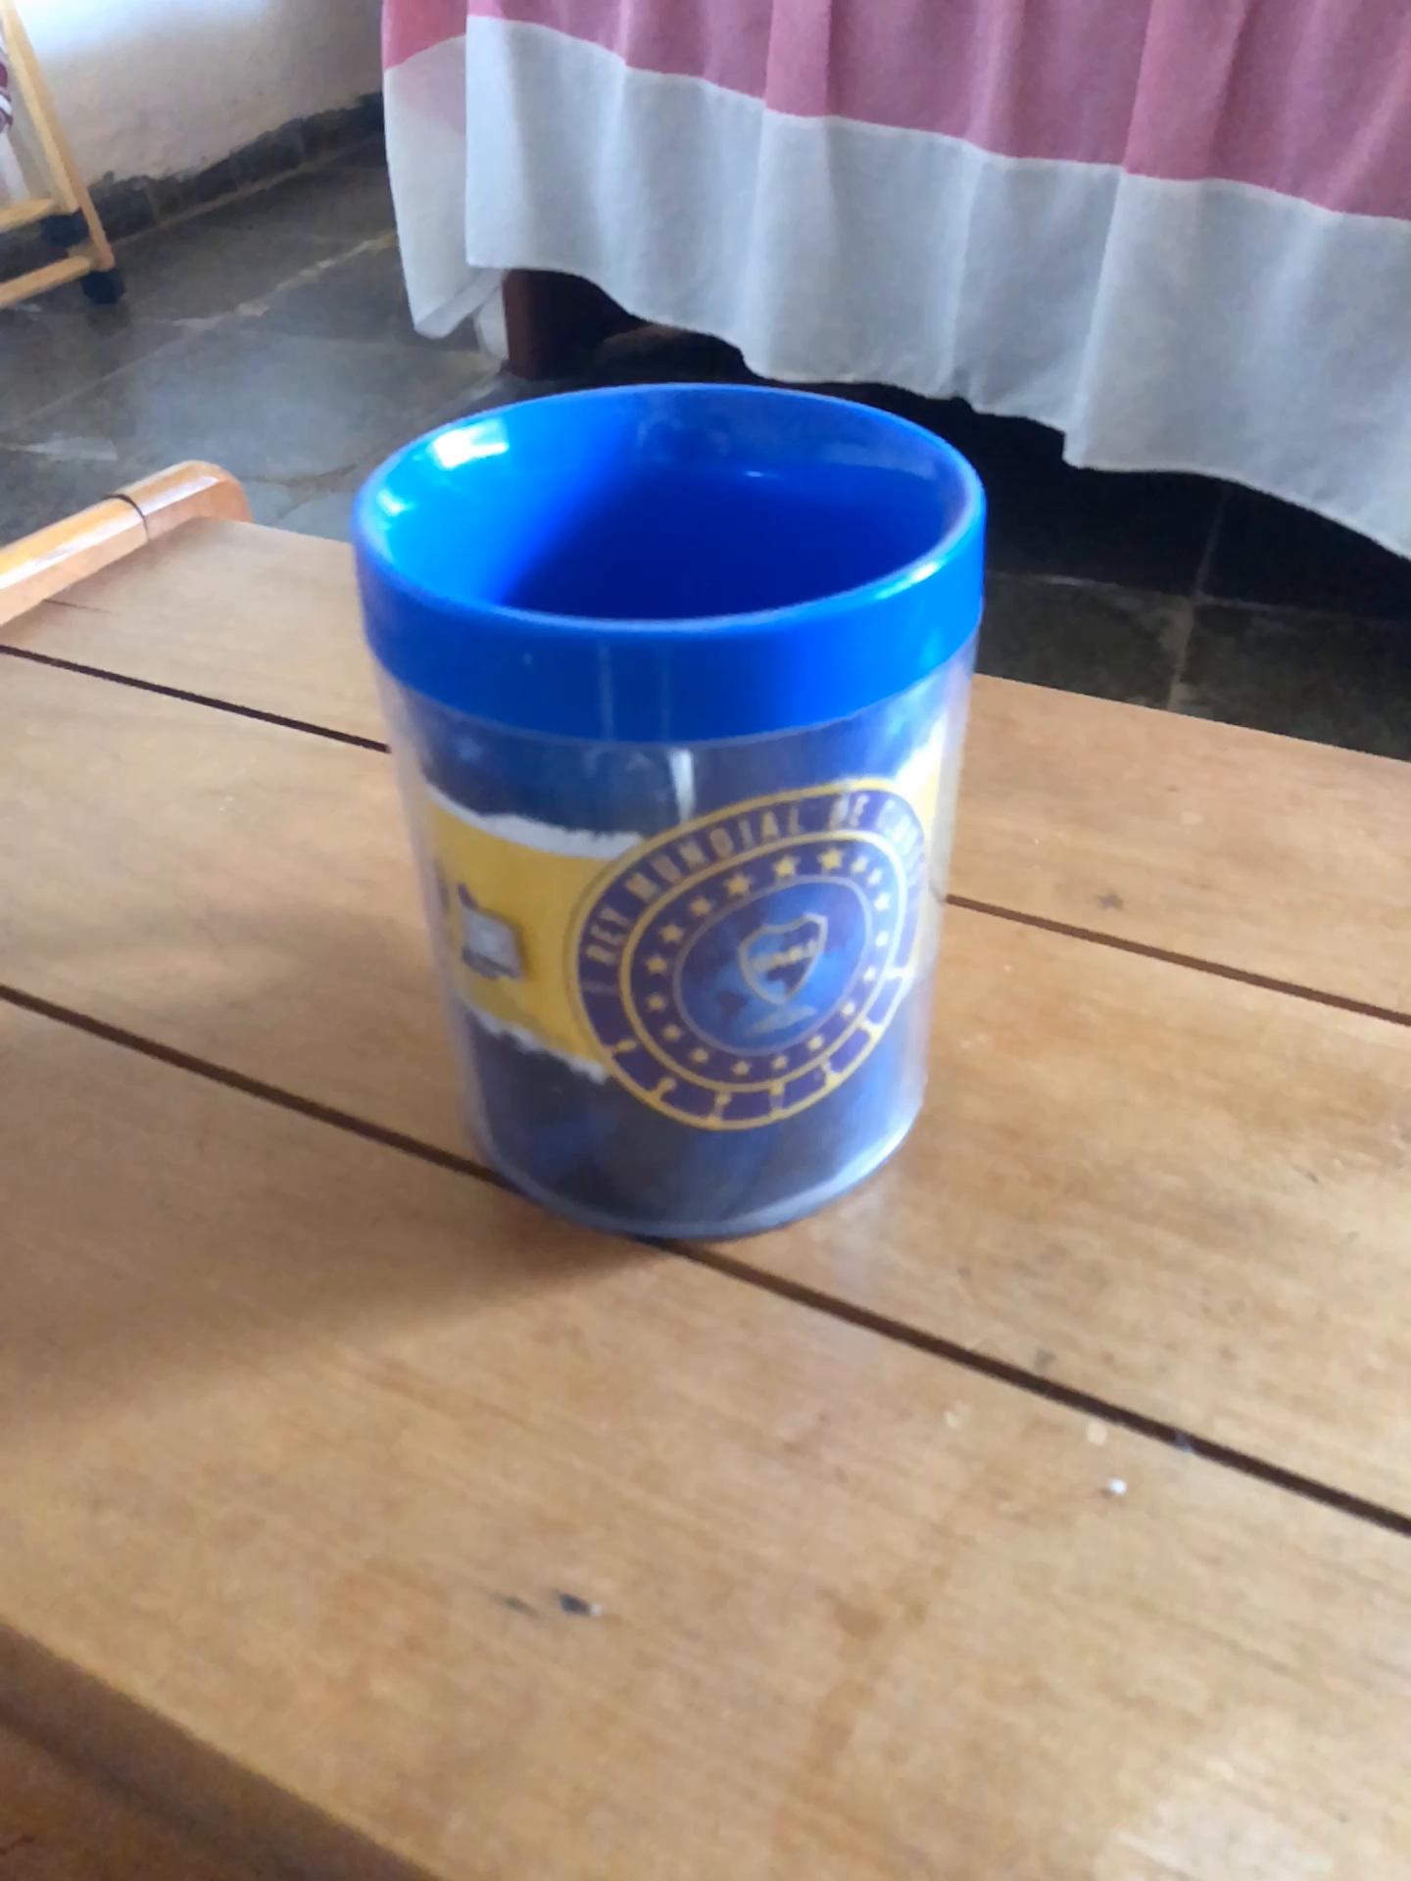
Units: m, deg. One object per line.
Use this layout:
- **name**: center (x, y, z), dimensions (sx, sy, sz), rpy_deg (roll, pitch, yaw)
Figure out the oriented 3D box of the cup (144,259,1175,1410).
- **cup**: center (-0.013, -0.026, 0.236), dimensions (0.090, 0.109, 0.121), rpy_deg (-19, 41, -21)
